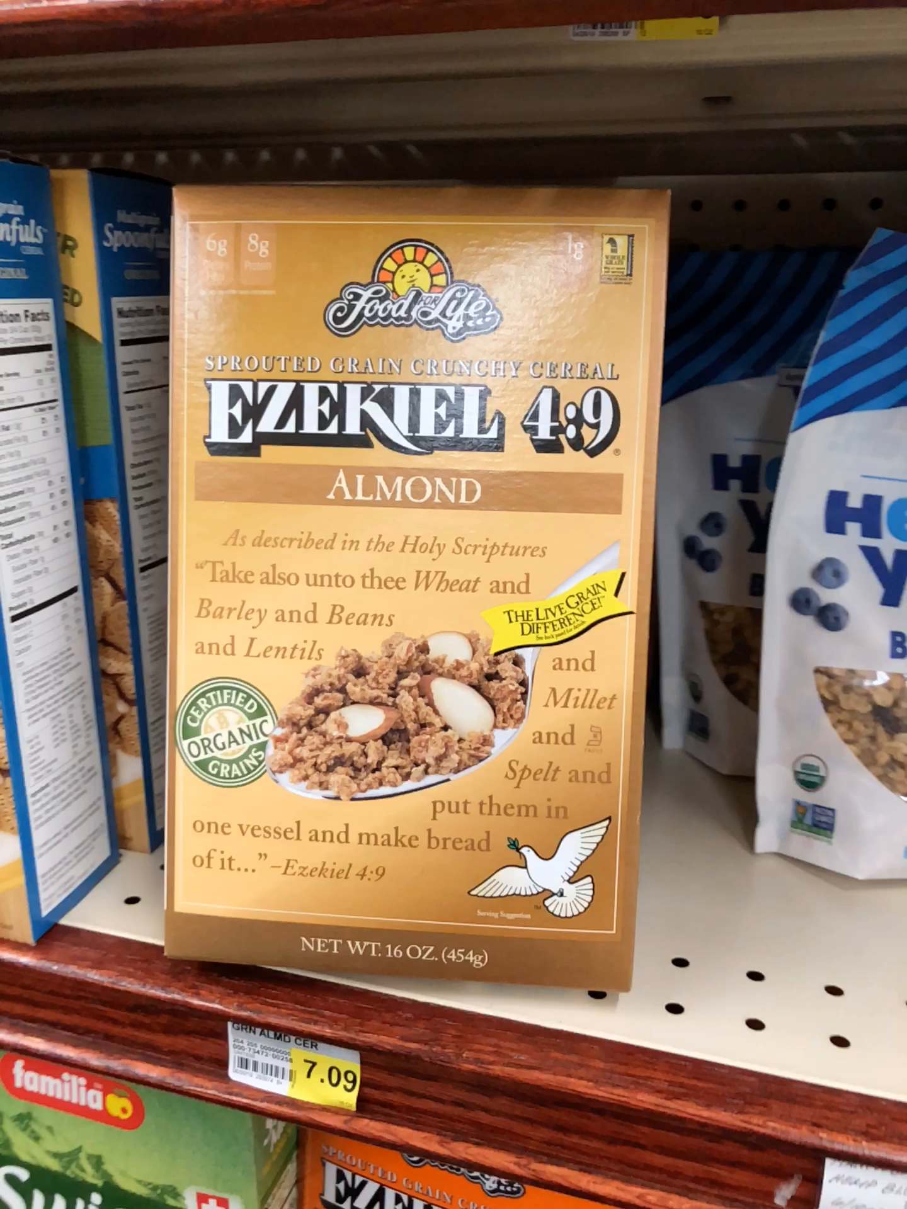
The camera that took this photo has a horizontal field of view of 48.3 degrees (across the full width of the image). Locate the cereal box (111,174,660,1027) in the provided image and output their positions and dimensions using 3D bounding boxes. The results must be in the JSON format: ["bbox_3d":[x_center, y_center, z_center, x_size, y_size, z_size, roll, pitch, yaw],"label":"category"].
[{"bbox_3d":[-0.019,-0.003,0.296,0.140,0.220,0.060,2,4,5],"label":"cereal box"}]
